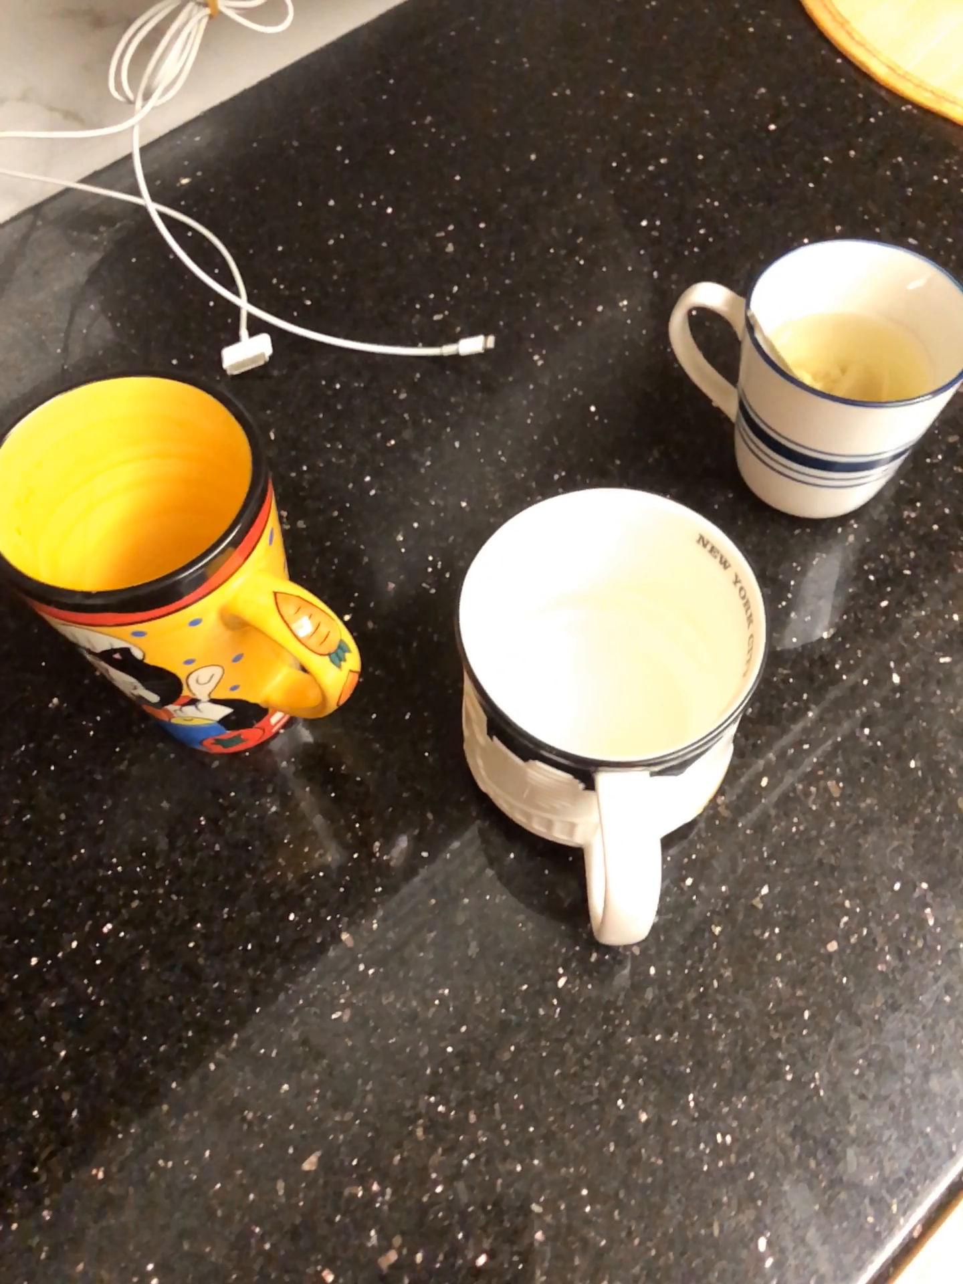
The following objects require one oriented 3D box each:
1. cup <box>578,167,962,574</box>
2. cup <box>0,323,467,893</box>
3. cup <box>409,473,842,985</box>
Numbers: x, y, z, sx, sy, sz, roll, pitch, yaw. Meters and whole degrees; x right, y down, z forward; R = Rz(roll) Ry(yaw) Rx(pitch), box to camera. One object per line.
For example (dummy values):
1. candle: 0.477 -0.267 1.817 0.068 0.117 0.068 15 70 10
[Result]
1. cup: 0.117 -0.108 0.425 0.130 0.090 0.090 20 64 13
2. cup: -0.091 -0.007 0.362 0.140 0.130 0.090 27 65 17
3. cup: 0.040 0.031 0.370 0.110 0.090 0.140 -7 61 -1
